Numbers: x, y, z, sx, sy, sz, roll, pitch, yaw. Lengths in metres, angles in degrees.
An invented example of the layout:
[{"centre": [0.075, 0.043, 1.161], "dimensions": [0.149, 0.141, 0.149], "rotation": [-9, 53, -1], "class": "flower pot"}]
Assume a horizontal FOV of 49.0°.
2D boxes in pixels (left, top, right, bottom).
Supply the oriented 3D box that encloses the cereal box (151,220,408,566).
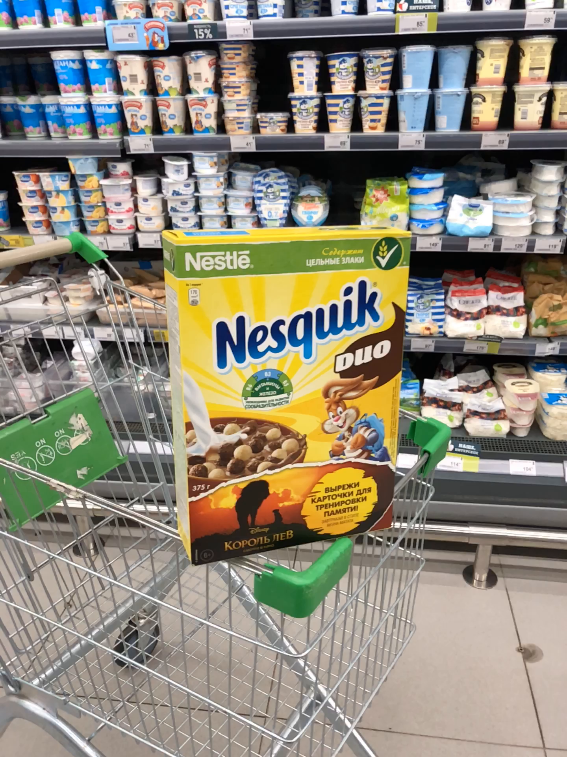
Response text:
[{"centre": [-0.003, 0.009, 0.547], "dimensions": [0.200, 0.279, 0.060], "rotation": [-6, 19, -18], "class": "cereal box"}]
